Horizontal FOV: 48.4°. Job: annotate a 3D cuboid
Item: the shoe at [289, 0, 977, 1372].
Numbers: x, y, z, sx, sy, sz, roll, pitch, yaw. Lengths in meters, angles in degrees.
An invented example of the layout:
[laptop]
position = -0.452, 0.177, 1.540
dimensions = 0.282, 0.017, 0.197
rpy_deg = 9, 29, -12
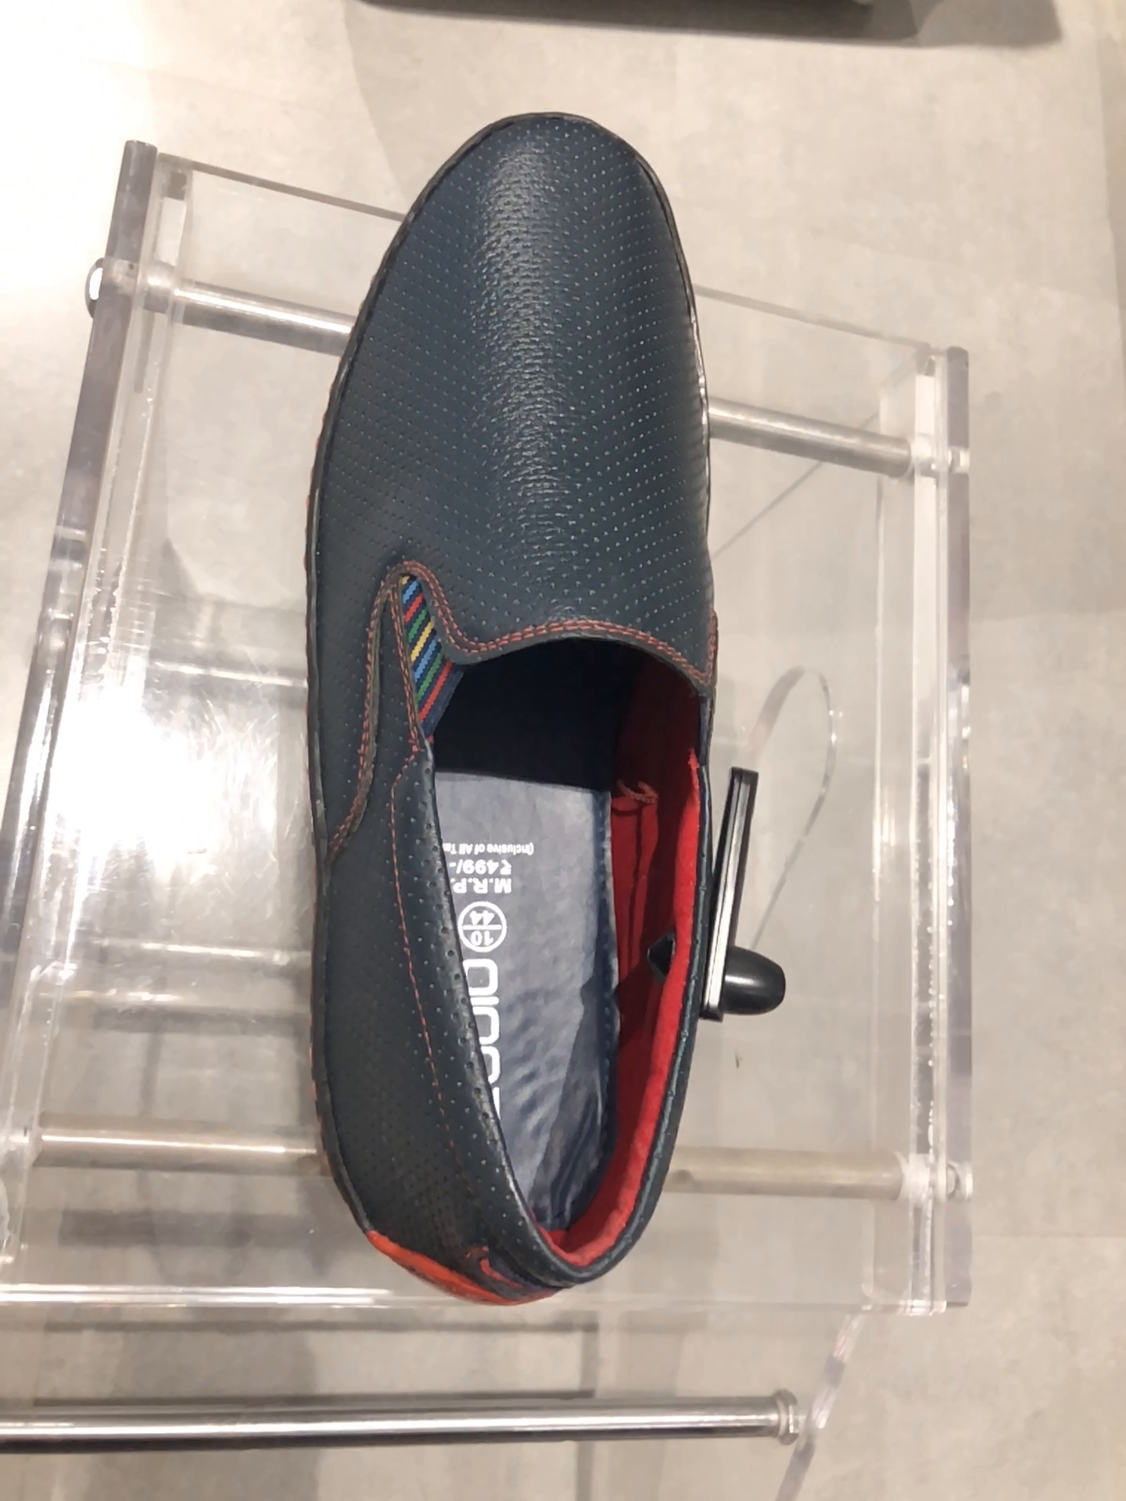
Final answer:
[shoe]
position = 0.009, -0.024, 0.279
dimensions = 0.110, 0.100, 0.270
rpy_deg = 5, 77, -15
